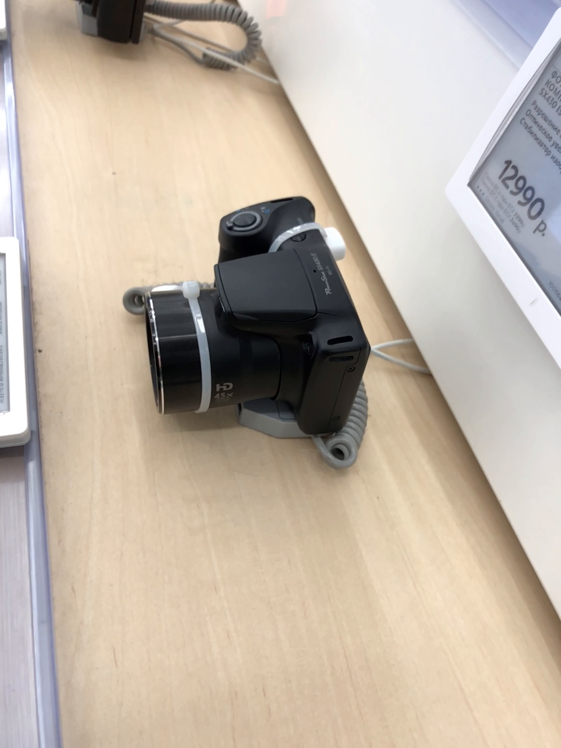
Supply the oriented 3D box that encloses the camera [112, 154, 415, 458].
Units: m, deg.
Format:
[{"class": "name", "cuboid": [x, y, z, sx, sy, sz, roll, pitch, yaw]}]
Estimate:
[{"class": "camera", "cuboid": [-0.016, -0.033, 0.283, 0.093, 0.062, 0.117, -3, 52, -27]}]
